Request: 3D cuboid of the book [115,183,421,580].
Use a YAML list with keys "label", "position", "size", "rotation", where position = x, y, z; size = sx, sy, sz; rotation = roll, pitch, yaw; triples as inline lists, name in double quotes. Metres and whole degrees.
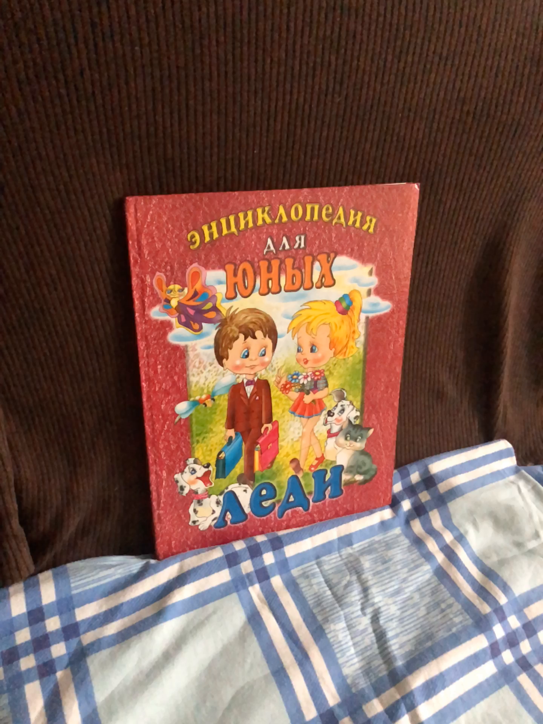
- label: "book"
  position: [0.006, 0.017, 0.484]
  size: [0.230, 0.303, 0.020]
  rotation: [-9, 23, -22]
